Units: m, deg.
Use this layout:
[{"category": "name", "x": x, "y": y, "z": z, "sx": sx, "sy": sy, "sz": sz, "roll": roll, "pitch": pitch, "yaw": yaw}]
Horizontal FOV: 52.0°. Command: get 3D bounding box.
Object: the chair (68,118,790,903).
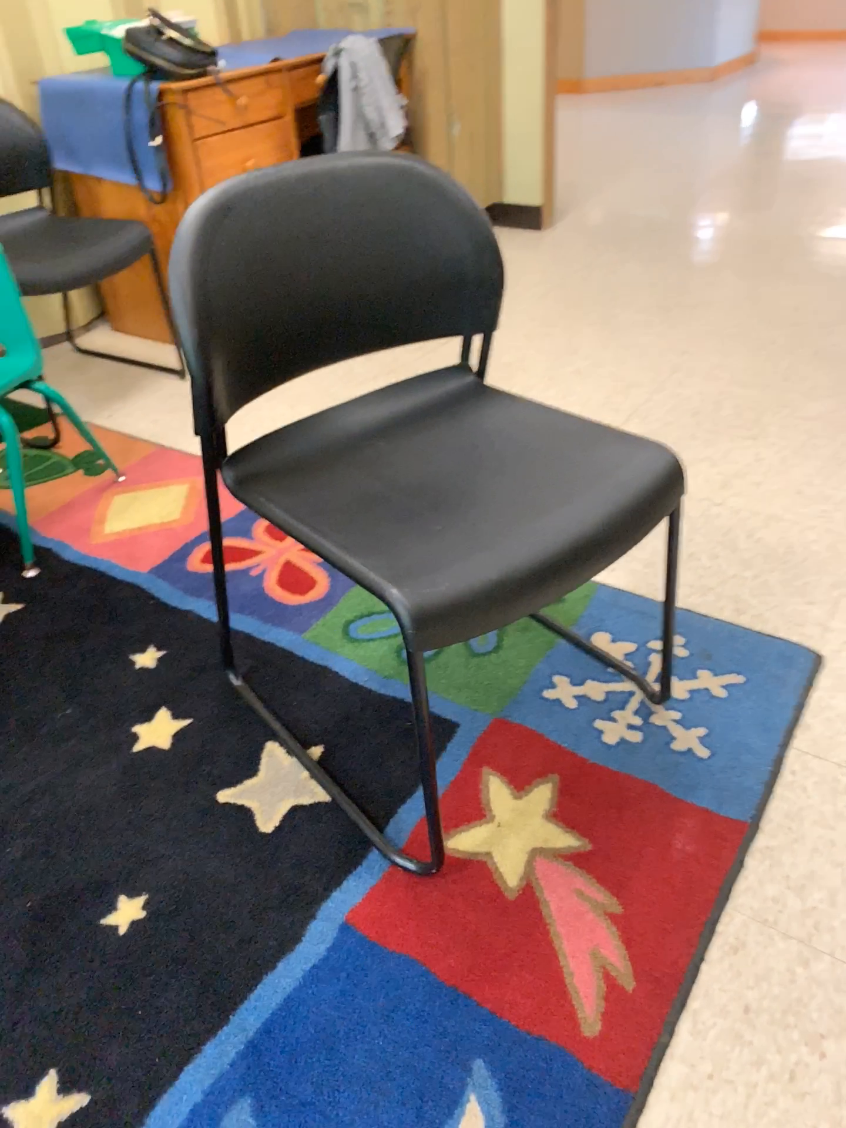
[{"category": "chair", "x": 0.004, "y": -0.133, "z": 1.231, "sx": 0.591, "sy": 0.775, "sz": 0.613, "roll": -27, "pitch": 41, "yaw": -29}]
